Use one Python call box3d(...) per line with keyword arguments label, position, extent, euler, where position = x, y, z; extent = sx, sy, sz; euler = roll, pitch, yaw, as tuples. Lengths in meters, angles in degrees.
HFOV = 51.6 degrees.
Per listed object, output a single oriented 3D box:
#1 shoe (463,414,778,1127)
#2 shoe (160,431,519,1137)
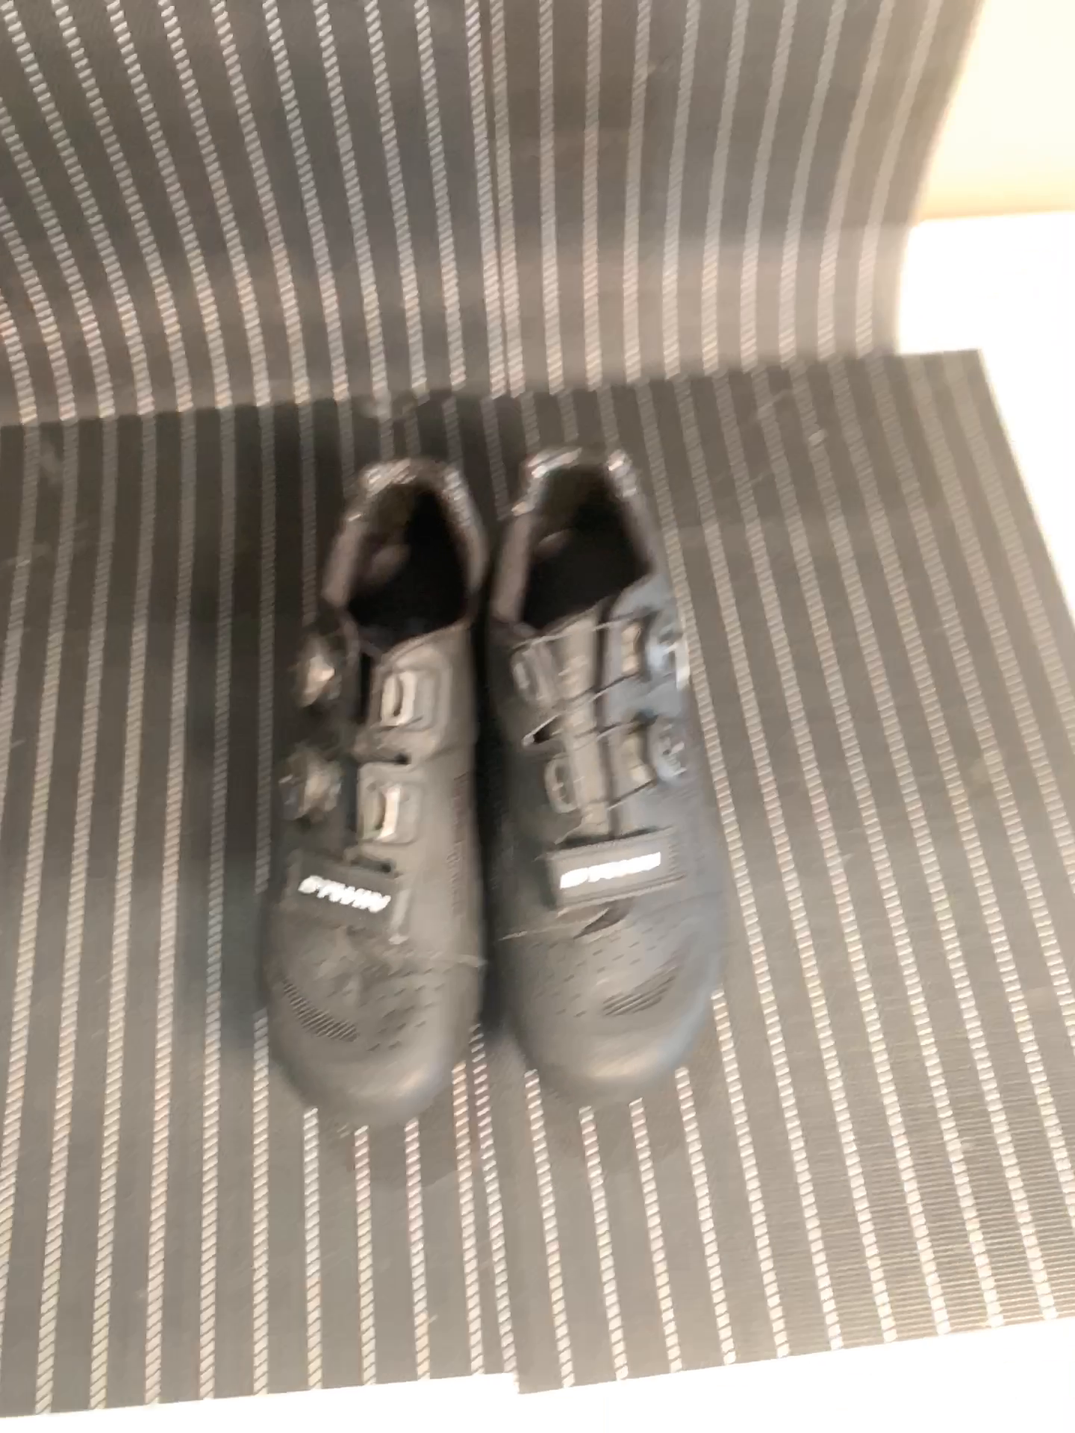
box3d(label="shoe", position=(0.024, 0.018, 0.449), extent=(0.100, 0.090, 0.270), euler=(-2, 67, 0))
box3d(label="shoe", position=(-0.063, 0.024, 0.438), extent=(0.100, 0.090, 0.260), euler=(1, 67, 1))
